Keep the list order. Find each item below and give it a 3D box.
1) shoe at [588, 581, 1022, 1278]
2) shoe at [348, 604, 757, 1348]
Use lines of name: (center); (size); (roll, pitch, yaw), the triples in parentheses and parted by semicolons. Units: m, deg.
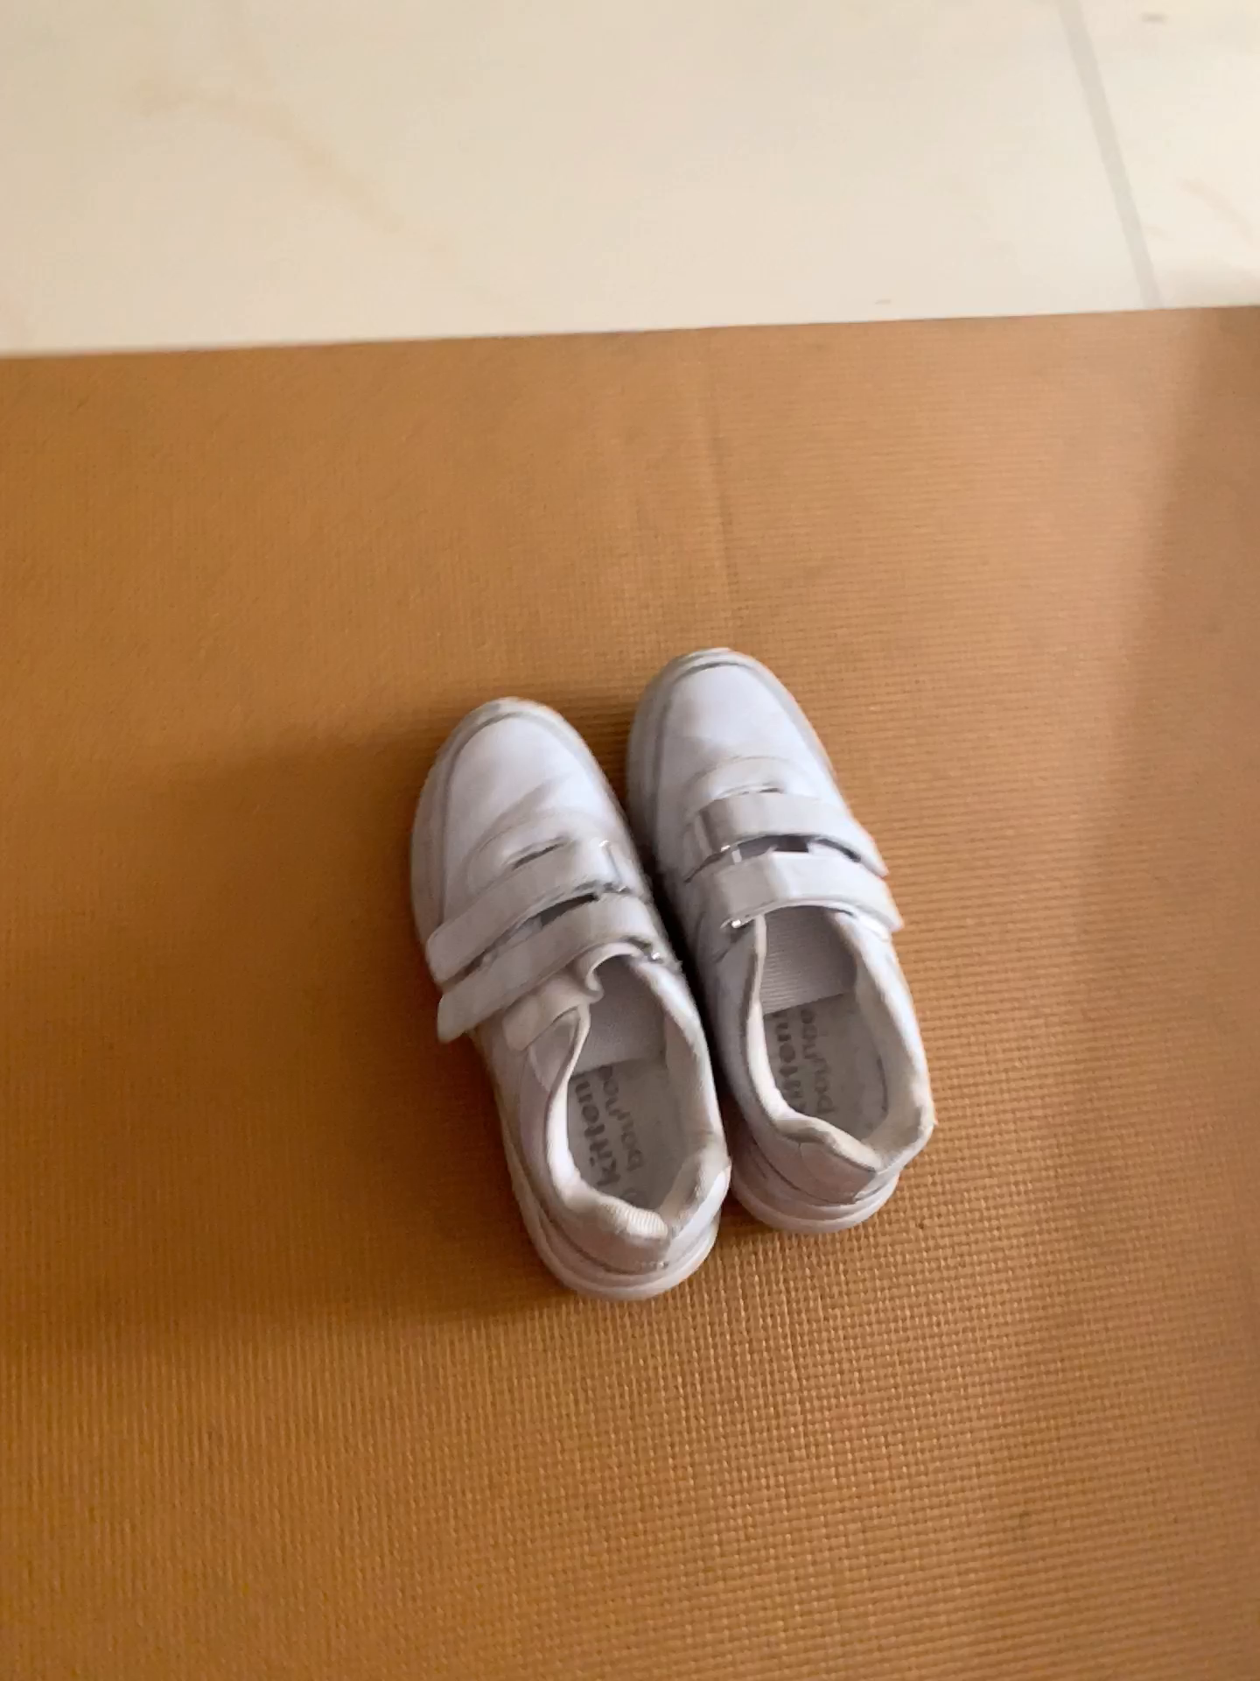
shoe: (0.059, 0.035, 0.516); (0.090, 0.100, 0.240); (-12, 79, -9)
shoe: (-0.034, 0.047, 0.493); (0.090, 0.070, 0.250); (-12, 79, -9)
